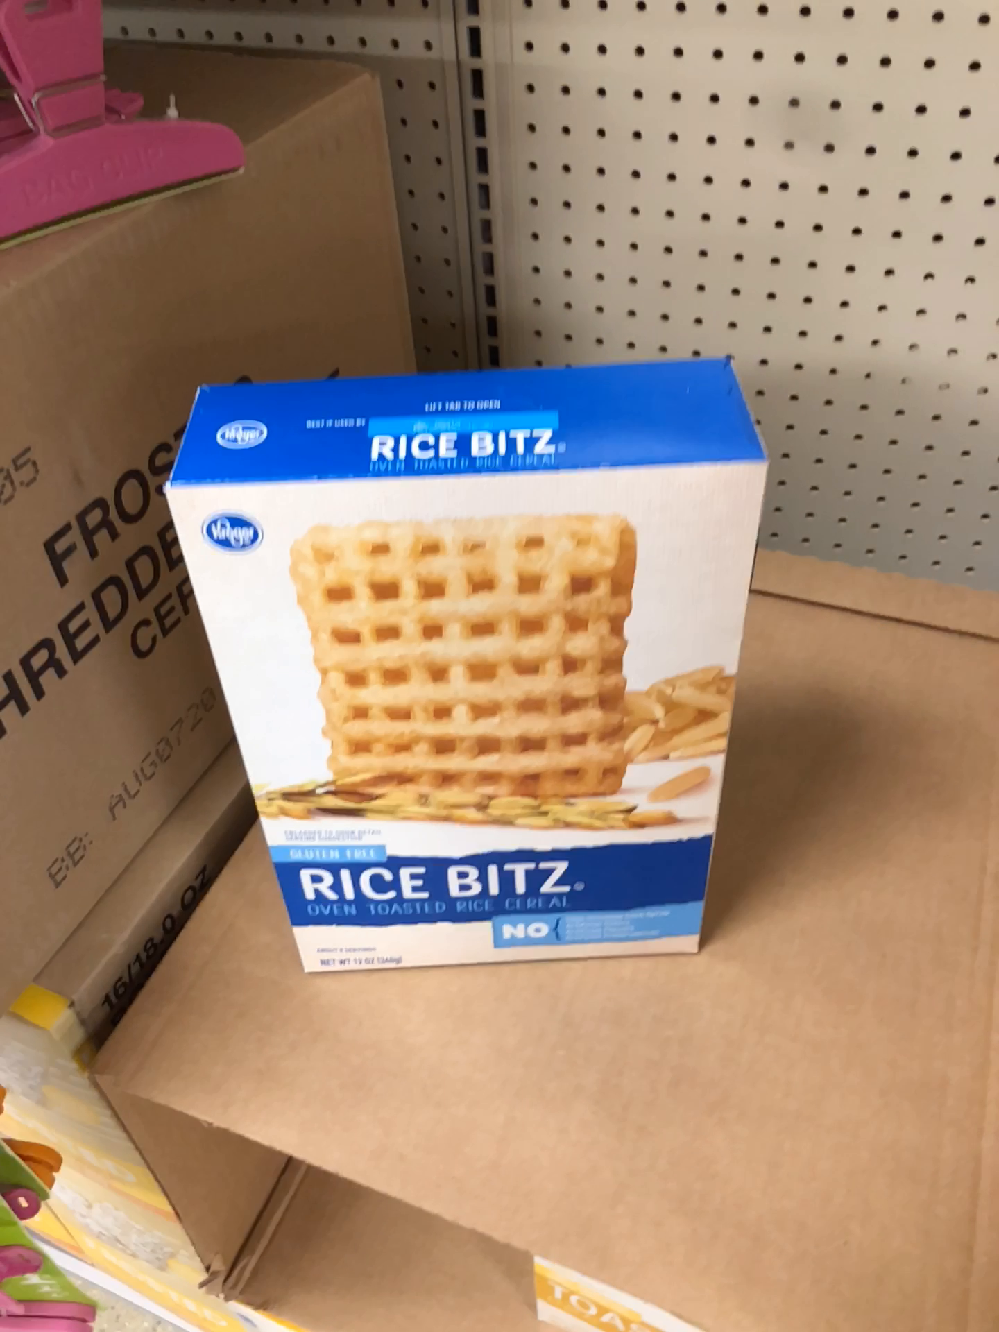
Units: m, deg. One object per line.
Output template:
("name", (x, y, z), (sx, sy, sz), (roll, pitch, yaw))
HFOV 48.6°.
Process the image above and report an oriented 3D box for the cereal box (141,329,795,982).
("cereal box", (-0.003, 0.018, 0.461), (0.200, 0.290, 0.070), (-3, 43, 1))
